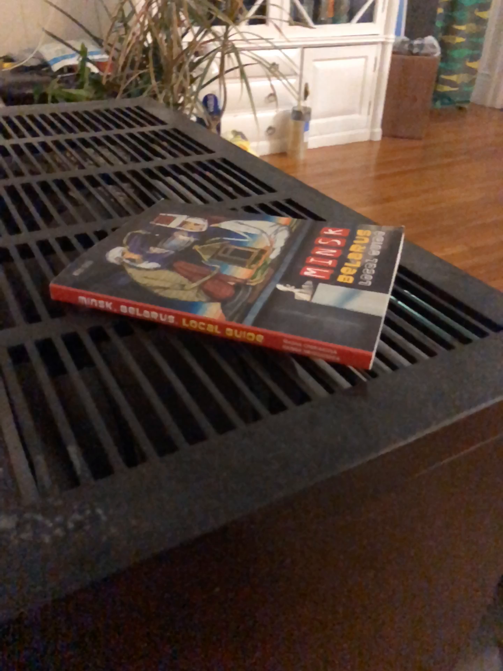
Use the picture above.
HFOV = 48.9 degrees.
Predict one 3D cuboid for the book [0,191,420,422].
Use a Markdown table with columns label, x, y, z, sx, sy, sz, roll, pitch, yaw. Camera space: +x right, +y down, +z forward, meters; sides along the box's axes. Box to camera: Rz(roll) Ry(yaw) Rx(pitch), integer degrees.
| label | x | y | z | sx | sy | sz | roll | pitch | yaw |
| --- | --- | --- | --- | --- | --- | --- | --- | --- | --- |
| book | -0.013 | -0.034 | 0.321 | 0.200 | 0.020 | 0.161 | 12 | 36 | 14 |
